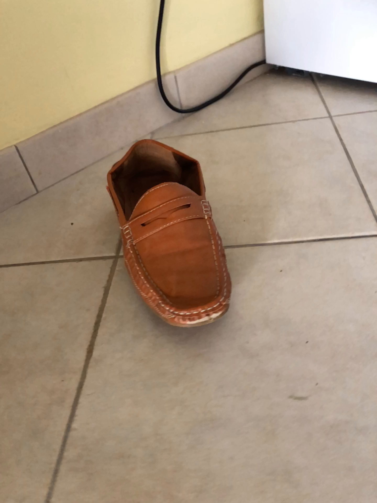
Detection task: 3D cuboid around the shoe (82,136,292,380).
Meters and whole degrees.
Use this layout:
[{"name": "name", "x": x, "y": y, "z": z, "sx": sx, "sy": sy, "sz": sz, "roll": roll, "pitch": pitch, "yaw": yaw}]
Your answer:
[{"name": "shoe", "x": -0.020, "y": -0.020, "z": 0.446, "sx": 0.130, "sy": 0.070, "sz": 0.281, "roll": -20, "pitch": 41, "yaw": -9}]
